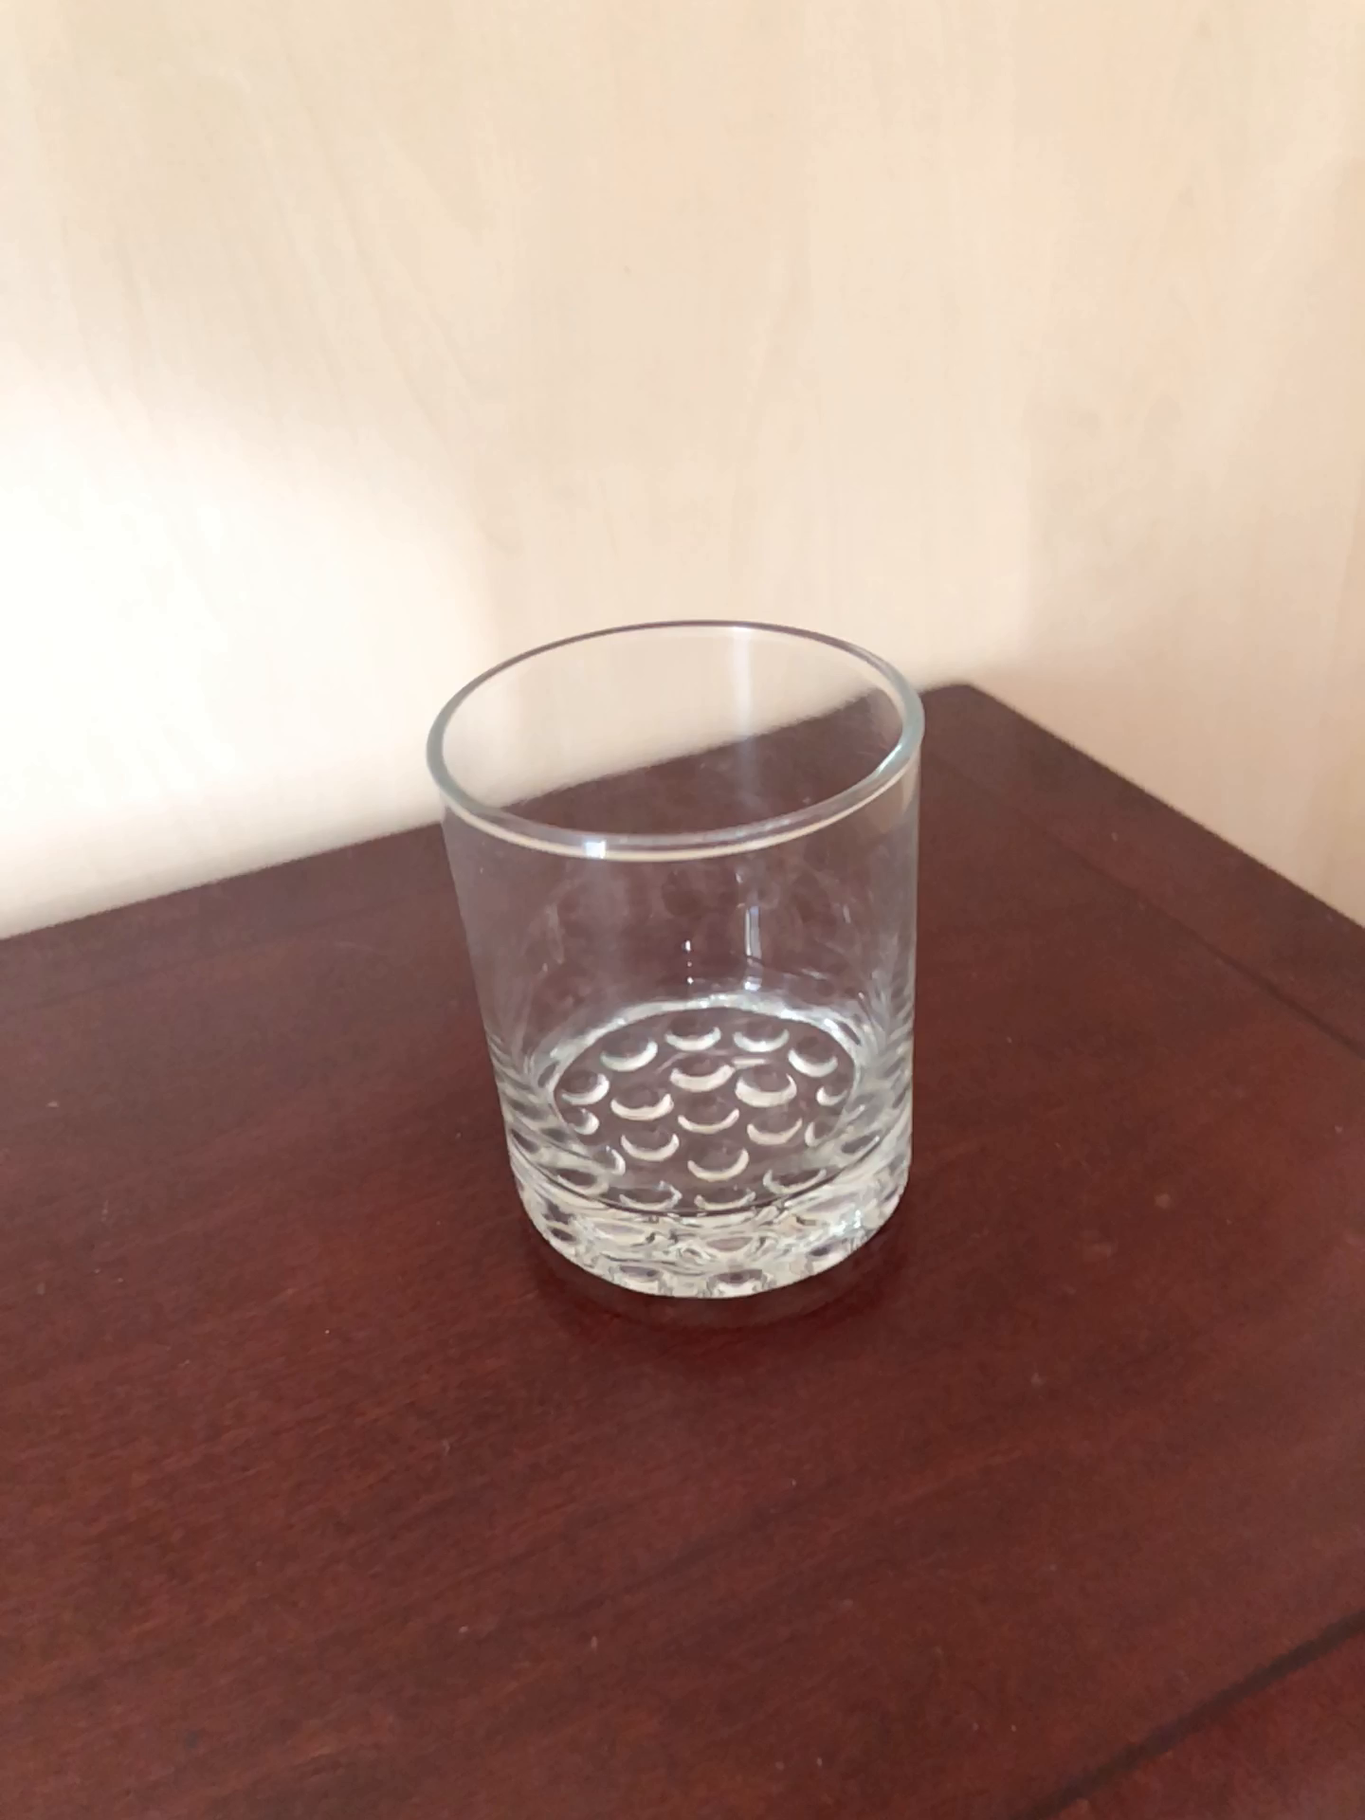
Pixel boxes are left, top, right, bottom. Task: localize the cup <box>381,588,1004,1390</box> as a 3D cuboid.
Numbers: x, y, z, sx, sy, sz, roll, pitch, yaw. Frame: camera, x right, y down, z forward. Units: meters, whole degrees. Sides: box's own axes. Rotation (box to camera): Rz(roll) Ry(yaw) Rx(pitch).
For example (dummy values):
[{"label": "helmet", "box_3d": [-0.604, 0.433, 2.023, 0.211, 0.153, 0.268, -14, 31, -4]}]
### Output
[{"label": "cup", "box_3d": [0.000, 0.010, 0.265, 0.081, 0.097, 0.082, -3, 33, 2]}]
